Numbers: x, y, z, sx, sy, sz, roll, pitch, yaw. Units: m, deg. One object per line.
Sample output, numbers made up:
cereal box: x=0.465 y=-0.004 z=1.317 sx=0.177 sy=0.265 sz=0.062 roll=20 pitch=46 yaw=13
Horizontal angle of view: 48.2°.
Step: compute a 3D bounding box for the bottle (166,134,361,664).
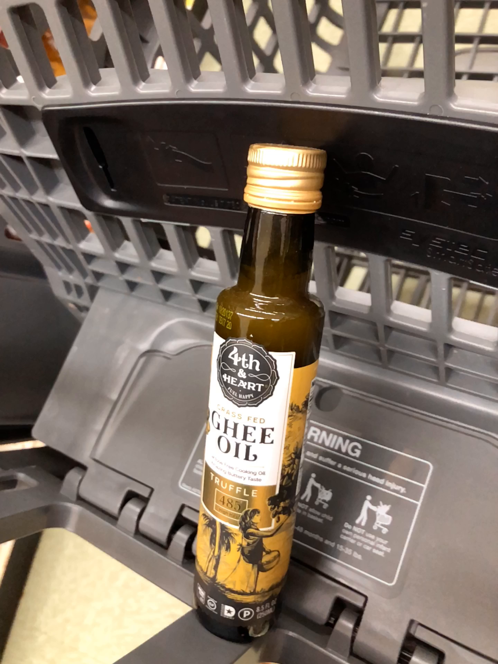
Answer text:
bottle: x=0.000 y=0.042 z=0.262 sx=0.054 sy=0.050 sz=0.250 roll=16 pitch=113 yaw=29
